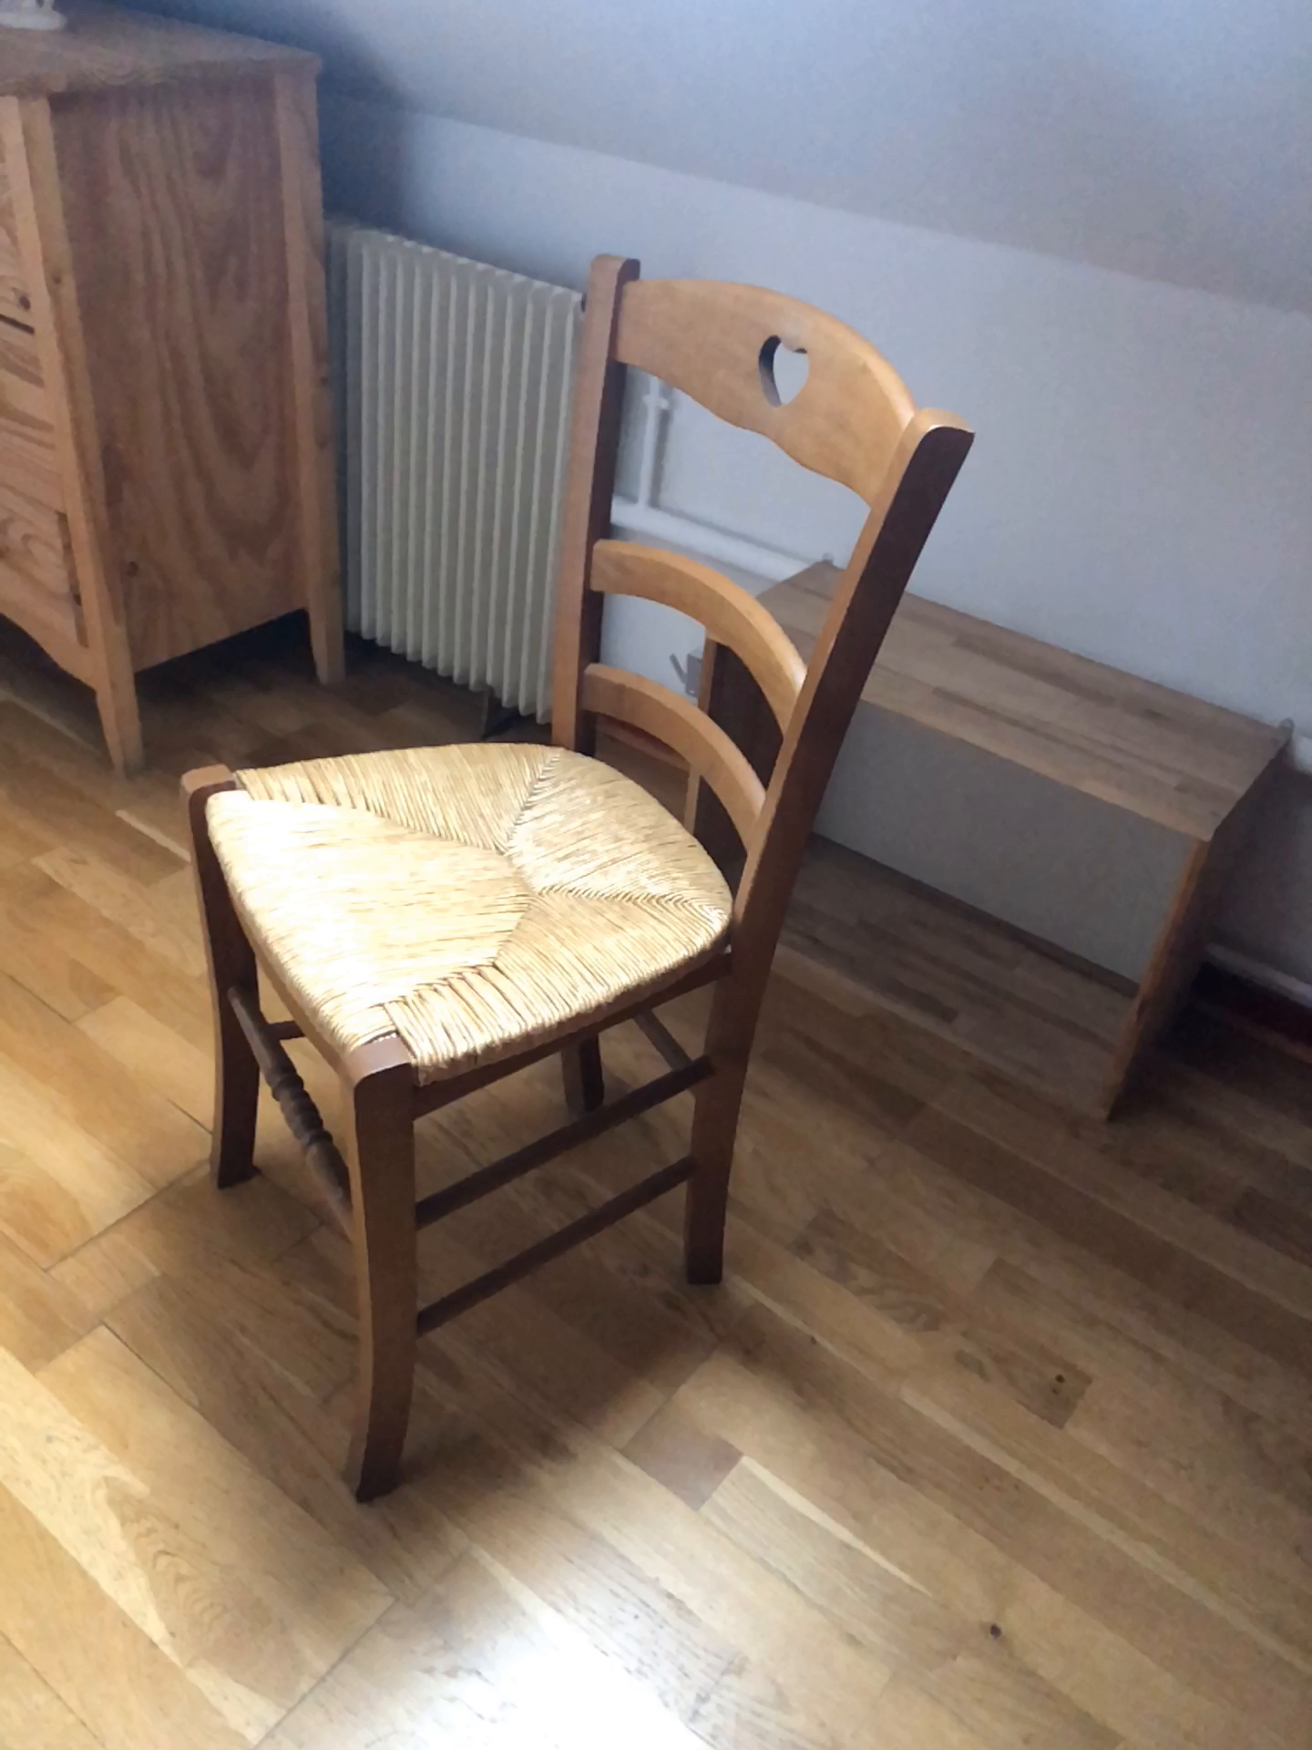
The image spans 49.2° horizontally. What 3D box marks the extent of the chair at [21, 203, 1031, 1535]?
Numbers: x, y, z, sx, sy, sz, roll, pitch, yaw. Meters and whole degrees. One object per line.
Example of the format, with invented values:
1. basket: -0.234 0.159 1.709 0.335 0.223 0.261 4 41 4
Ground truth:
1. chair: -0.136 -0.020 1.068 0.435 0.792 0.459 -14 40 -28
